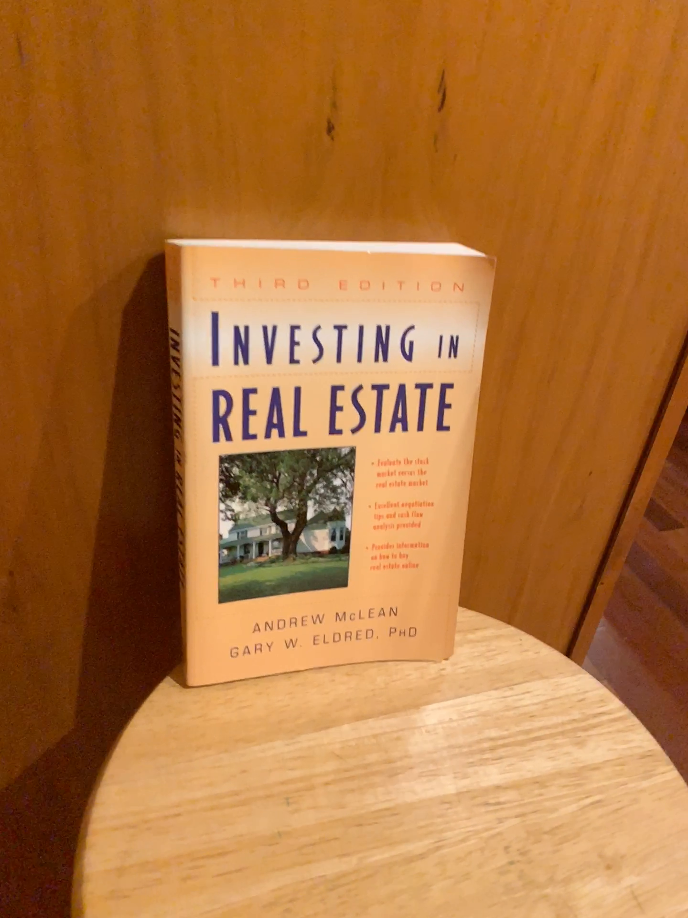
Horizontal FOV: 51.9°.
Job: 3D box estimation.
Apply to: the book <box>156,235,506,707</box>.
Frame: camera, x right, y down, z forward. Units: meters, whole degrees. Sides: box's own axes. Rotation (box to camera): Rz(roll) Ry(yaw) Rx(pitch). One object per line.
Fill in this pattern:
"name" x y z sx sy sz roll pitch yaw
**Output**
"book" -0.011 0.005 0.374 0.160 0.229 0.050 -4 19 -18
